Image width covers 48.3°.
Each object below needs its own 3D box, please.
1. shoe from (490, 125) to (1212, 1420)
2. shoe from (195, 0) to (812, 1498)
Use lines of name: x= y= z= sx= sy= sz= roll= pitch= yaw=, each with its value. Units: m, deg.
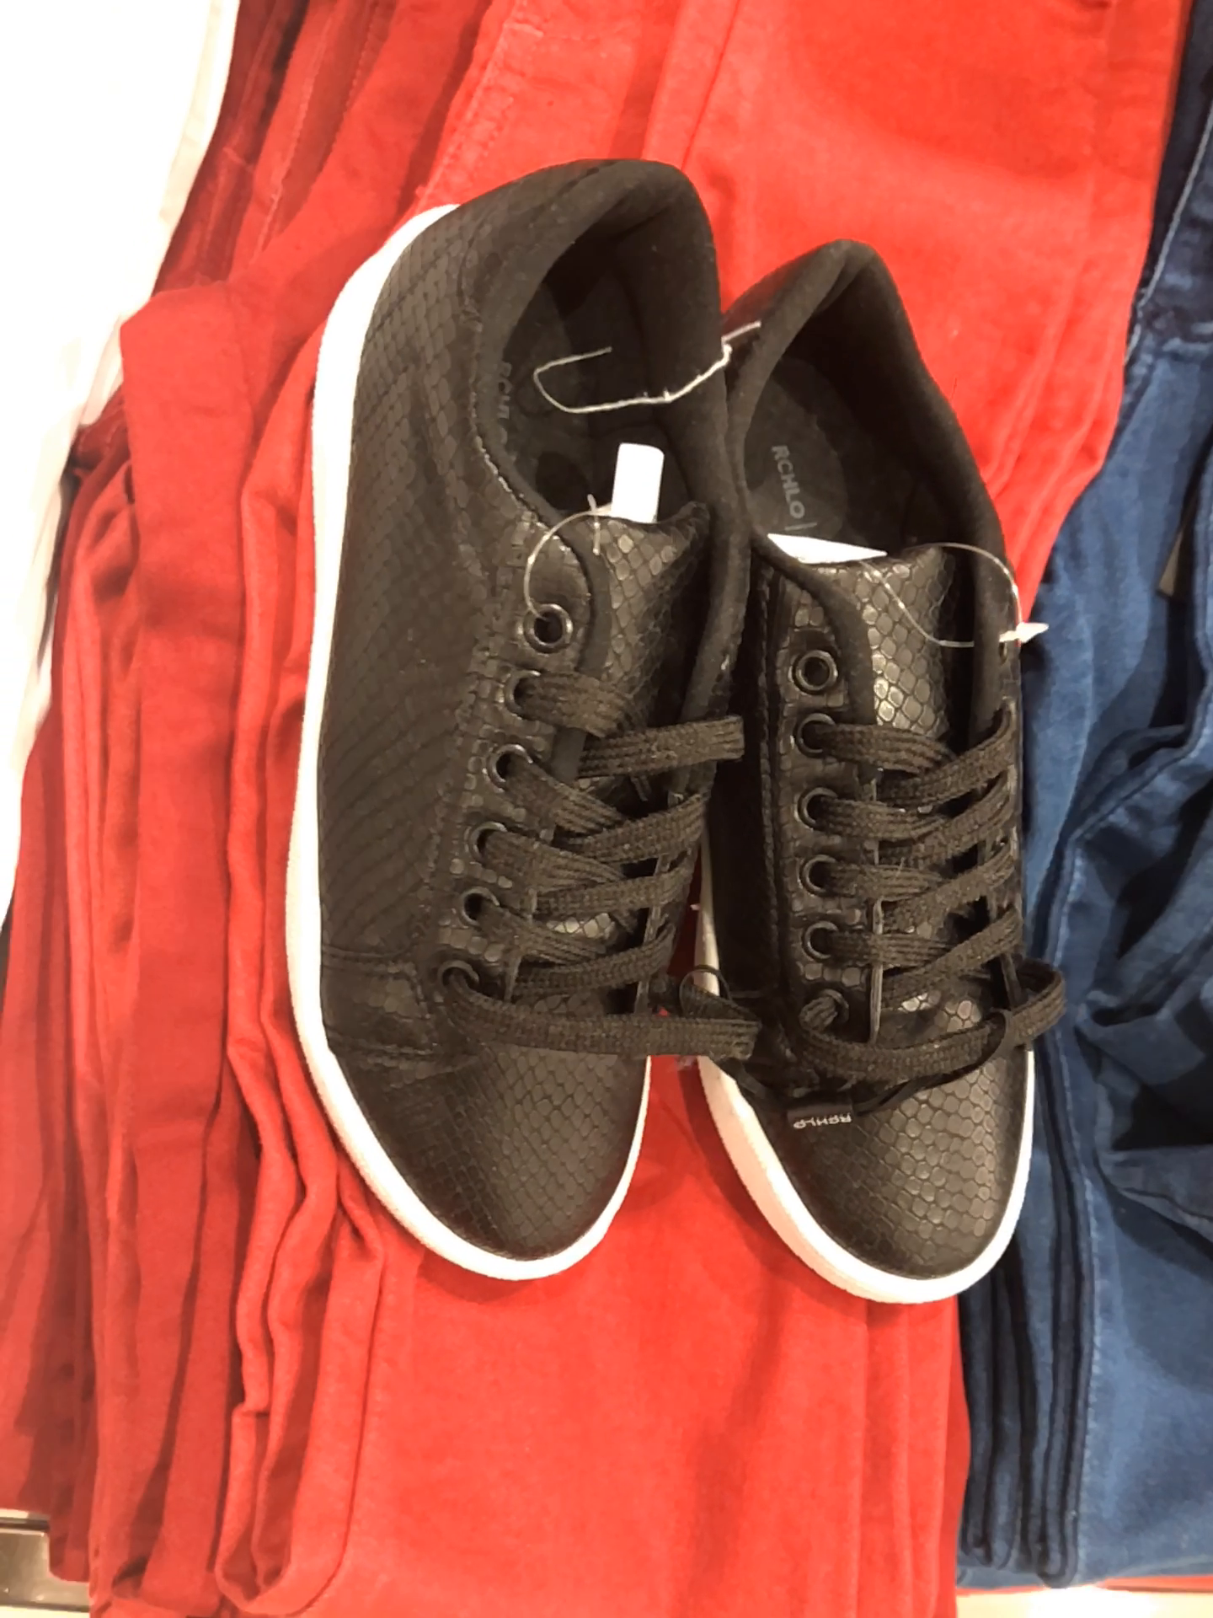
shoe: x=0.053 y=-0.011 z=0.314 sx=0.090 sy=0.100 sz=0.250 roll=-8 pitch=80 yaw=-24
shoe: x=-0.027 y=-0.016 z=0.280 sx=0.090 sy=0.100 sz=0.250 roll=-1 pitch=90 yaw=-27
